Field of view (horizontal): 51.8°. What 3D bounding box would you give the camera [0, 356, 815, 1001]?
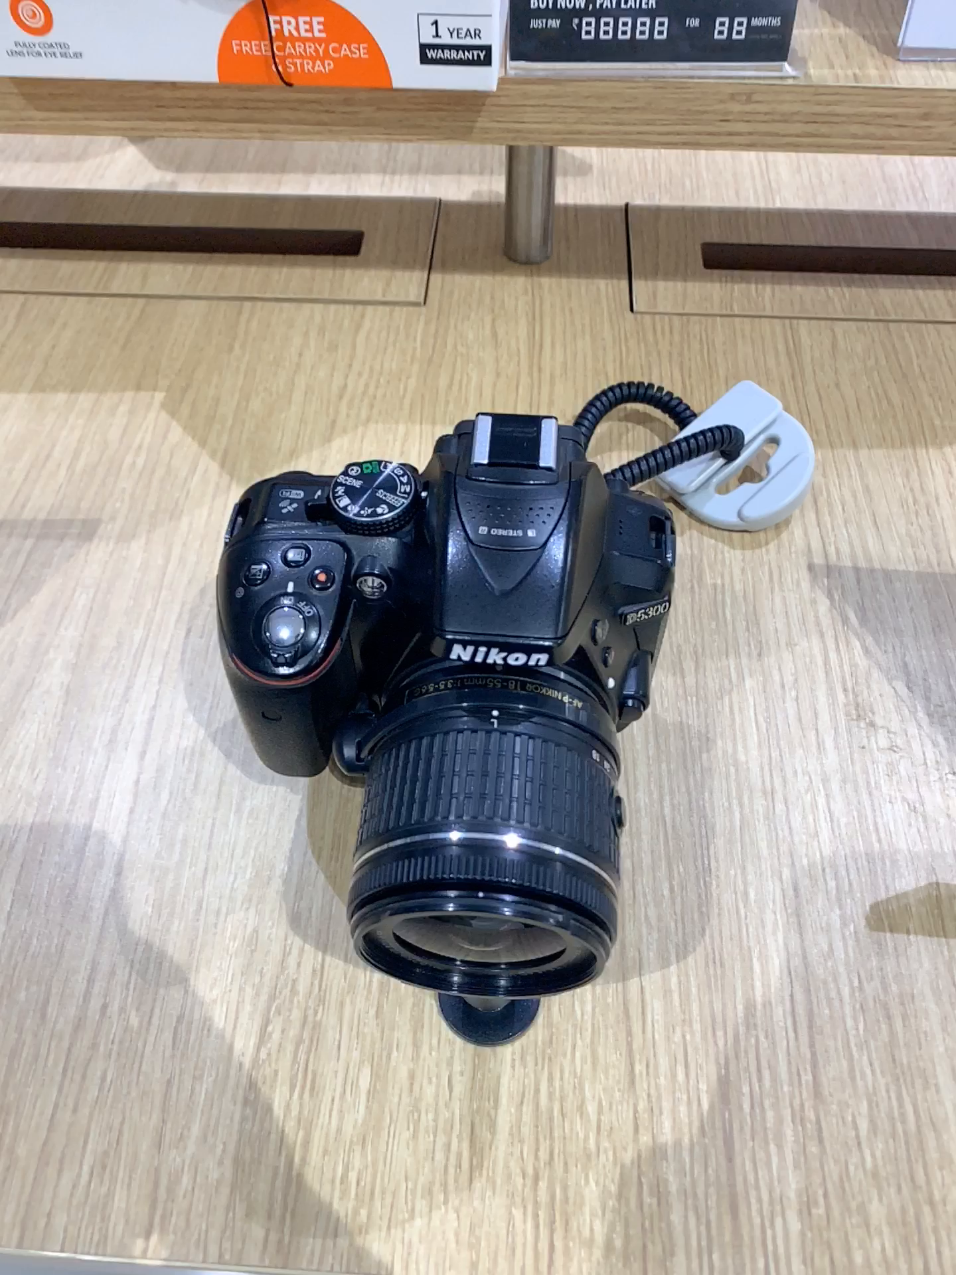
[{"bbox_3d":[-0.010,0.008,0.224,0.130,0.080,0.120,1,54,1],"label":"camera"}]
